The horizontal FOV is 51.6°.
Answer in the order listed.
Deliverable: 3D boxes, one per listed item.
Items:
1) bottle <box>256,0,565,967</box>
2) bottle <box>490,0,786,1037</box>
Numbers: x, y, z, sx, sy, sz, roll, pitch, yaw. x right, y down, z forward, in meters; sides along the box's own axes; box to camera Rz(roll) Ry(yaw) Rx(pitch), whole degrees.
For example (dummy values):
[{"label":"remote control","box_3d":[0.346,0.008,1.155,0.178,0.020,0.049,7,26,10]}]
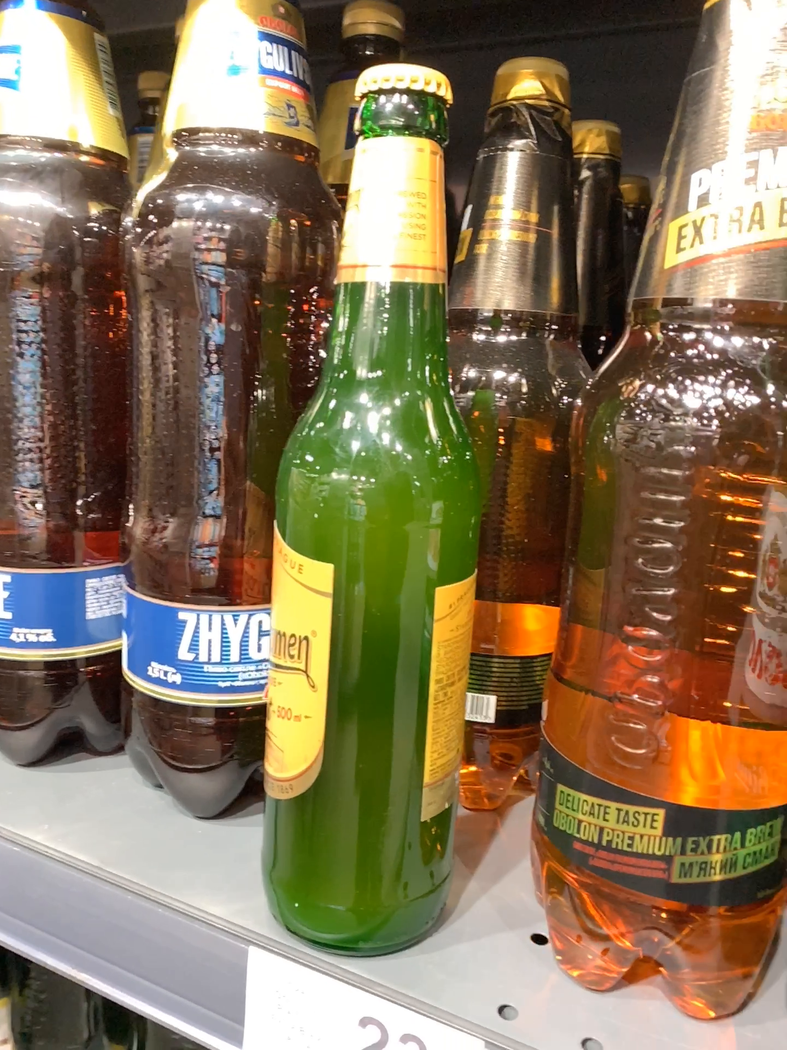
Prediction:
[{"label":"bottle","box_3d":[-0.004,-0.004,0.249,0.067,0.255,0.062,3,11,-1]},{"label":"bottle","box_3d":[0.077,-0.012,0.221,0.075,0.270,0.066,5,11,12]}]
